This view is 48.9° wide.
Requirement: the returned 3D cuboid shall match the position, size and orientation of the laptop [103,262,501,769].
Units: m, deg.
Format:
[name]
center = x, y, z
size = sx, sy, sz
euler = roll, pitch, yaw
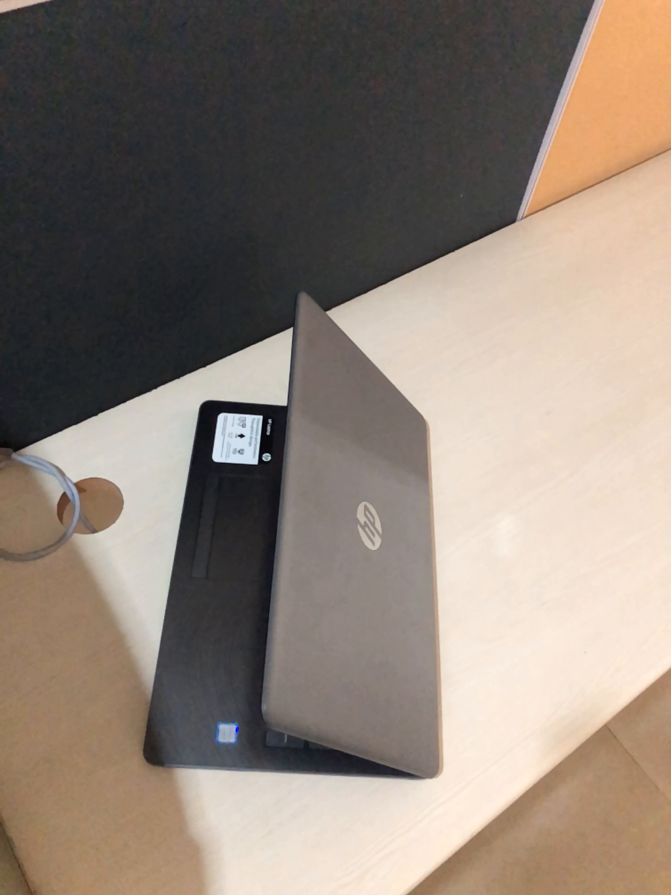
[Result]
[laptop]
center = -0.021, 0.060, 0.635
size = 0.246, 0.204, 0.362
euler = 4, 59, -5
